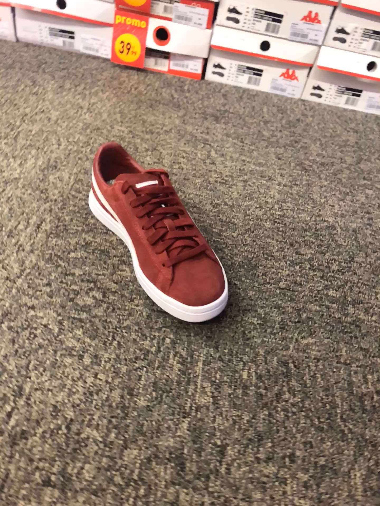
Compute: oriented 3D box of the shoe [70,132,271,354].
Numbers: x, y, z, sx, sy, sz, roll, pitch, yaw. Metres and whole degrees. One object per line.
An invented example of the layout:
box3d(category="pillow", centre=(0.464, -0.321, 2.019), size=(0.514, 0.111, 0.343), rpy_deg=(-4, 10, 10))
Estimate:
box3d(category="shoe", centre=(-0.037, -0.027, 0.470), size=(0.100, 0.080, 0.250), rpy_deg=(-20, 54, -27))
